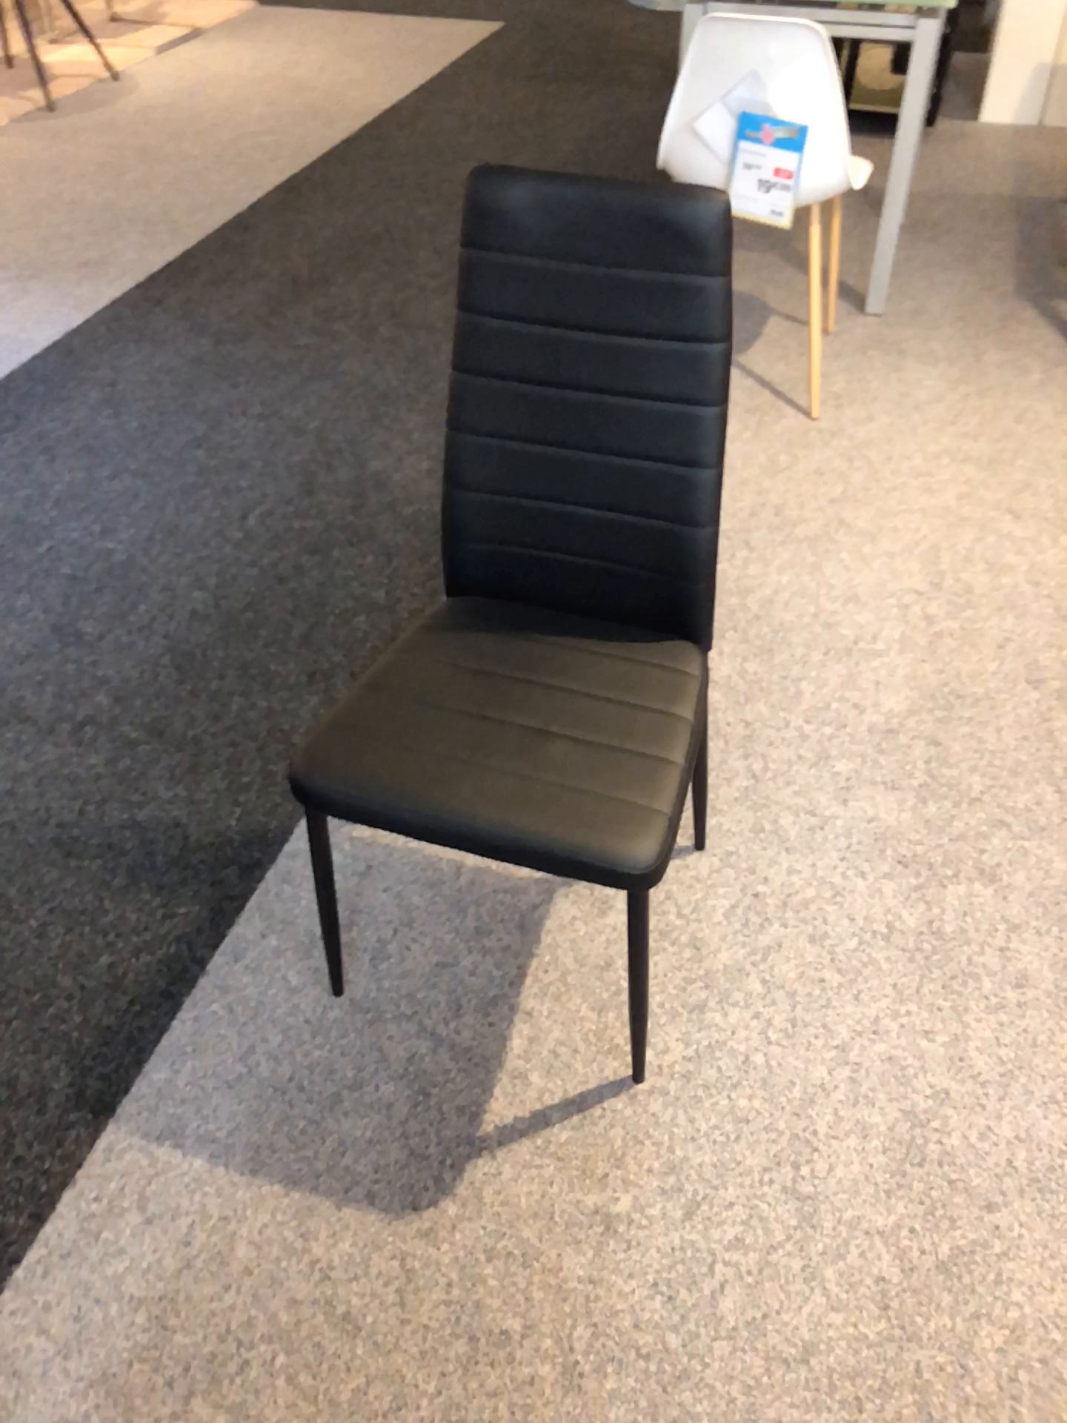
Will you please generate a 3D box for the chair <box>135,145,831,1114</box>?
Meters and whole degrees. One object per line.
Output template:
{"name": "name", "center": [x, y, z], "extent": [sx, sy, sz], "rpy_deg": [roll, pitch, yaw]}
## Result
{"name": "chair", "center": [-0.008, -0.059, 1.343], "extent": [0.470, 0.934, 0.473], "rpy_deg": [13, 44, 15]}
